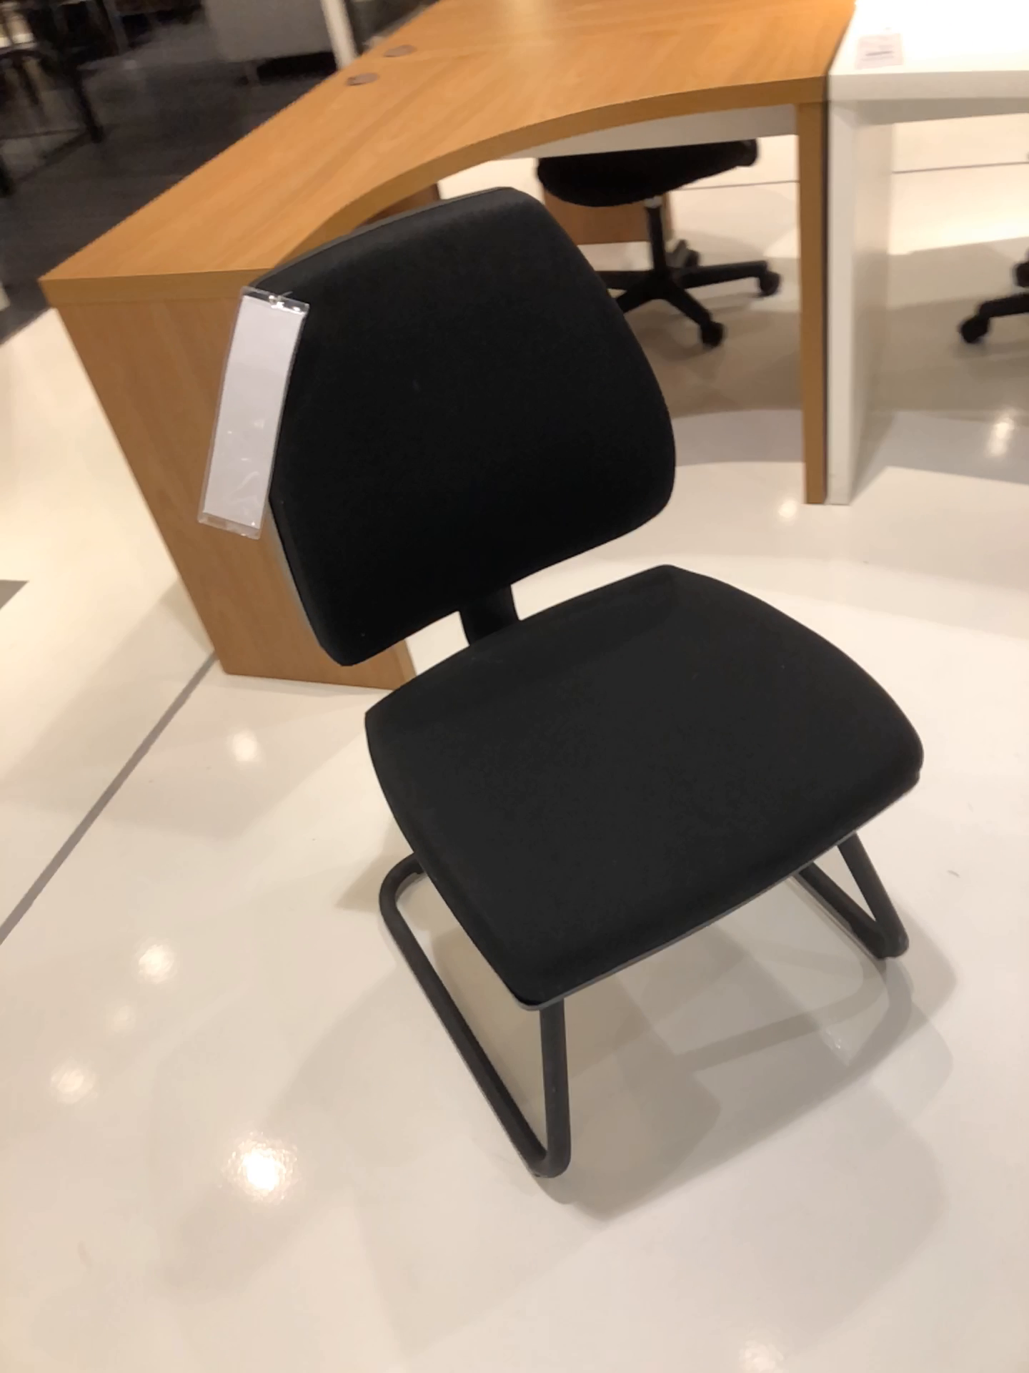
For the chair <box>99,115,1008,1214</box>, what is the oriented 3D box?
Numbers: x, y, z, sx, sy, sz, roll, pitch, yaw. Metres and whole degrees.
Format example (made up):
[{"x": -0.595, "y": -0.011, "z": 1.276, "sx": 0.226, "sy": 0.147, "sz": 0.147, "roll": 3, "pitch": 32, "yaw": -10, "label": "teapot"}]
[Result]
[{"x": 0.060, "y": -0.024, "z": 1.212, "sx": 0.551, "sy": 0.873, "sz": 0.563, "roll": -27, "pitch": 42, "yaw": -16, "label": "chair"}]
